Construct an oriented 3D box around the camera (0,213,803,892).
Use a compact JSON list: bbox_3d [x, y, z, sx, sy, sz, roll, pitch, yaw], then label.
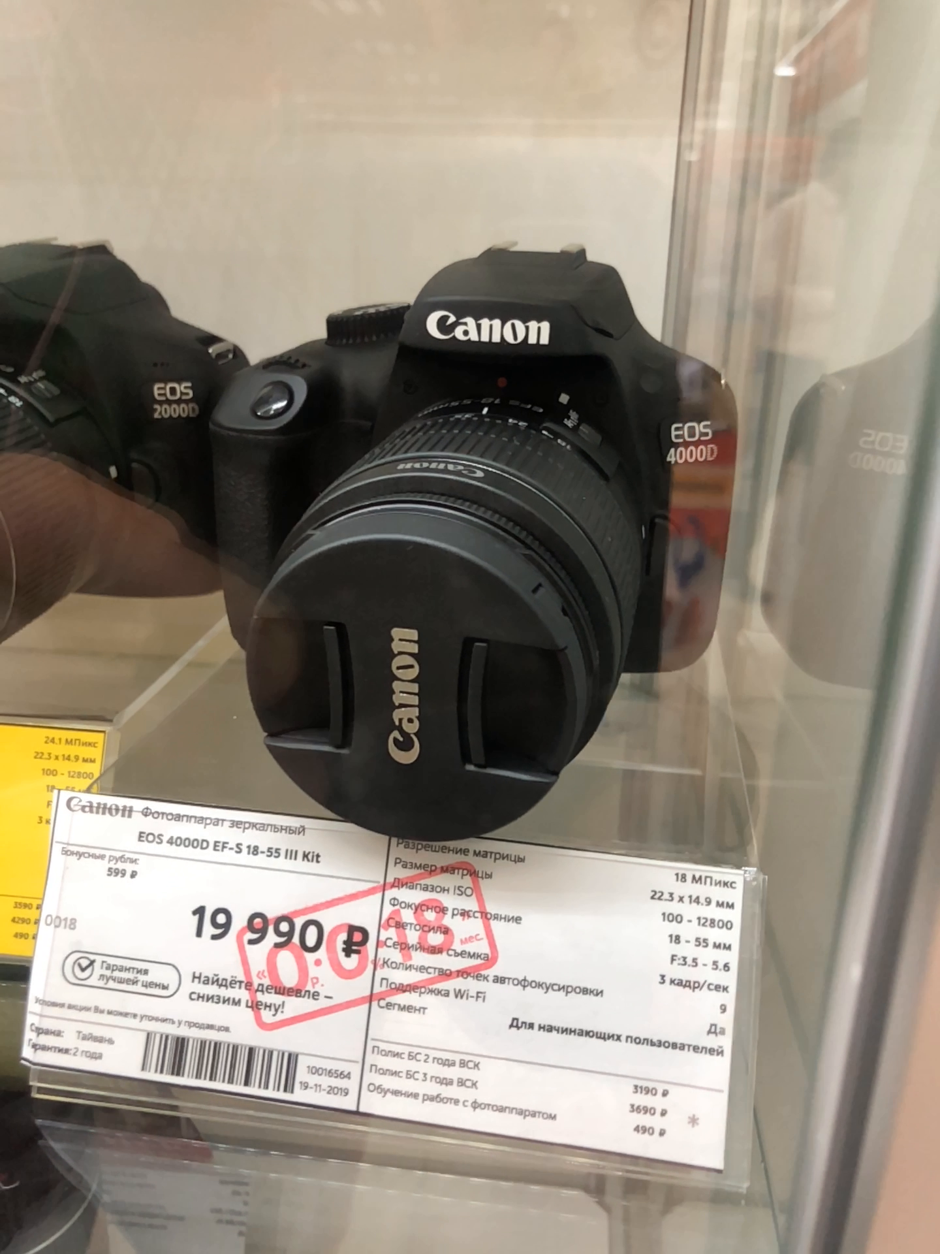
[{"bbox_3d":[-0.009,-0.033,0.231,0.125,0.100,0.147,4,19,7],"label":"camera"}]
